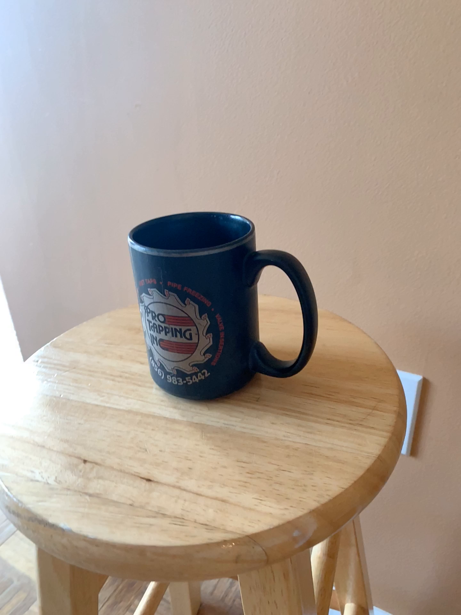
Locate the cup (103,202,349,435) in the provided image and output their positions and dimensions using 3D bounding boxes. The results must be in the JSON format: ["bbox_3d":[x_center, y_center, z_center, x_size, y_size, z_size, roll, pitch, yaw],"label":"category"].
[{"bbox_3d":[0.003,-0.003,0.361,0.140,0.119,0.110,9,28,23],"label":"cup"}]
